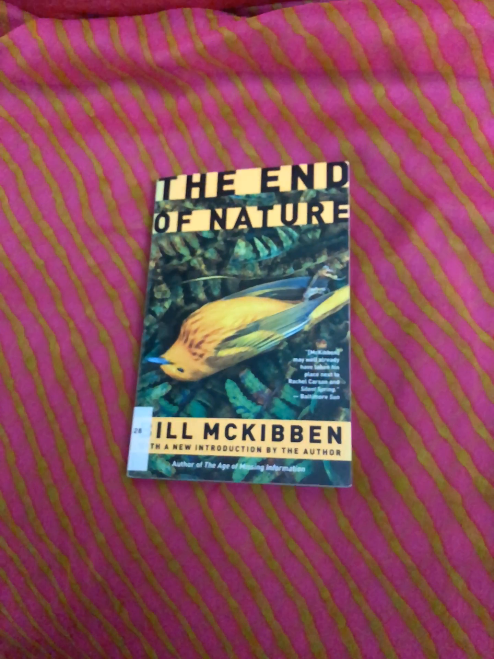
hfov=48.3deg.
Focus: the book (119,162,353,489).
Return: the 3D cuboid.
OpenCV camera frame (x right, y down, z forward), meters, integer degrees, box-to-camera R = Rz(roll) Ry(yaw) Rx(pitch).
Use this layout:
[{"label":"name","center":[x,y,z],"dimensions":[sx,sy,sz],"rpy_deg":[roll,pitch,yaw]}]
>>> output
[{"label":"book","center":[-0.003,-0.007,0.337],"dimensions":[0.131,0.020,0.194],"rpy_deg":[0,76,9]}]
